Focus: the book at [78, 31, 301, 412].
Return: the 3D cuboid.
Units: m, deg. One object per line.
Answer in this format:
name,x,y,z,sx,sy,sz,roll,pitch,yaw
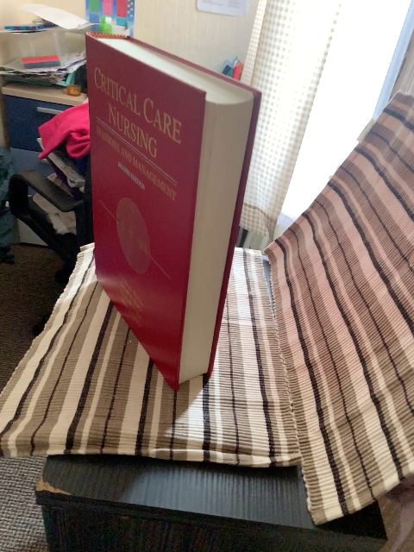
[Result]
book,-0.048,-0.059,0.425,0.060,0.287,0.252,-16,42,-30
